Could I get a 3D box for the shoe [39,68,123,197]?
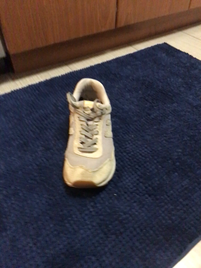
[{"bbox_3d":[-0.022,-0.023,0.470,0.130,0.099,0.282,4,45,2],"label":"shoe"}]
